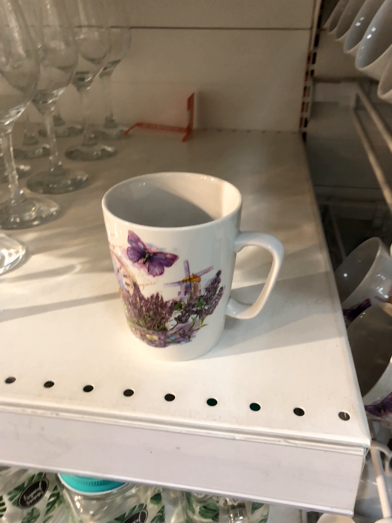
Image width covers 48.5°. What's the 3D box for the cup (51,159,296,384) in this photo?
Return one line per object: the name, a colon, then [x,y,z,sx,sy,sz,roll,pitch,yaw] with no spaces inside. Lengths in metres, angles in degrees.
cup: [-0.008,0.001,0.276,0.119,0.094,0.082,10,35,16]
